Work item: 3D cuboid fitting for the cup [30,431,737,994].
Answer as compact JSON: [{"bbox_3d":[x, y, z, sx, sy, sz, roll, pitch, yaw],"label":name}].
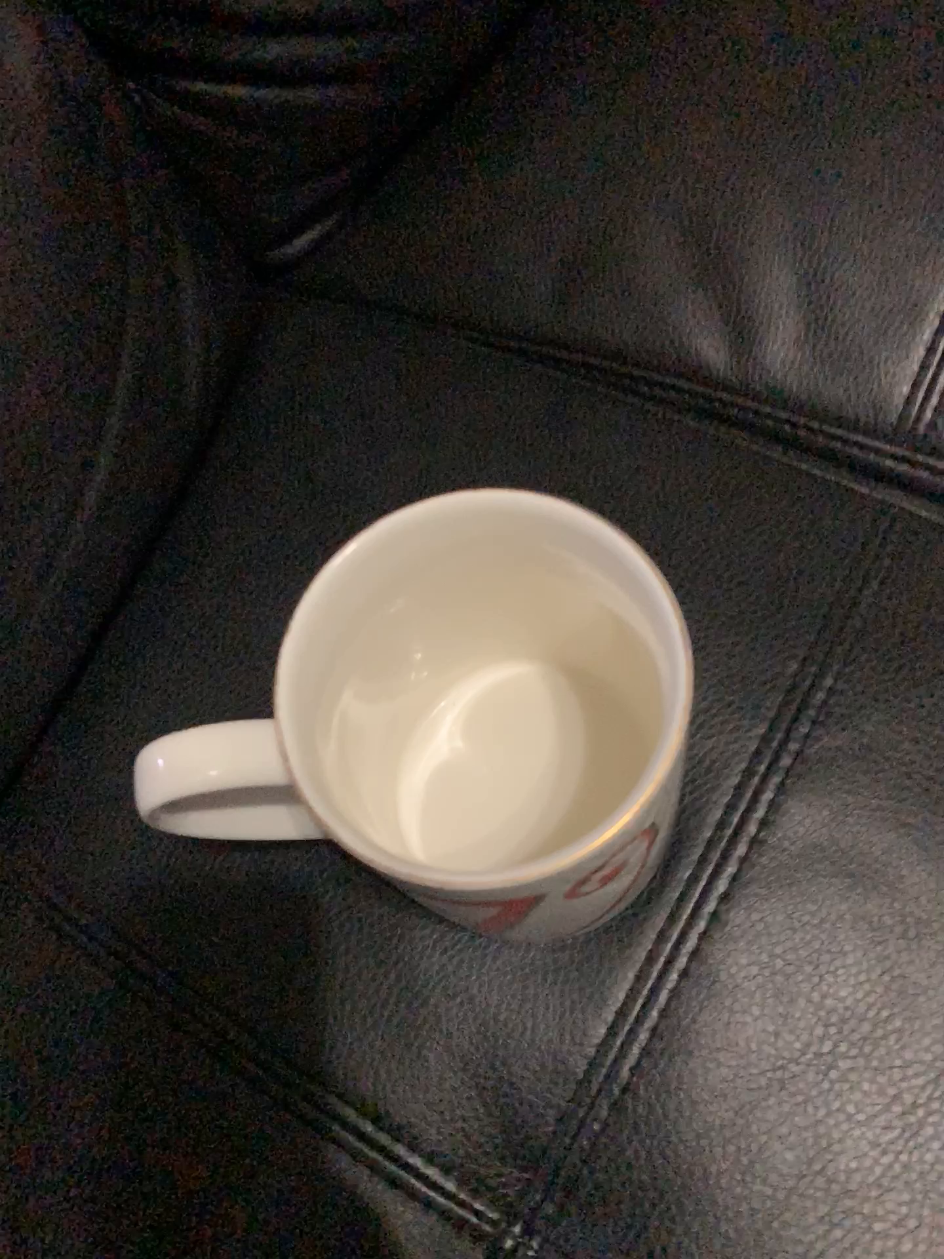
[{"bbox_3d":[-0.015,0.032,0.254,0.138,0.107,0.098,-9,64,6],"label":"cup"}]
